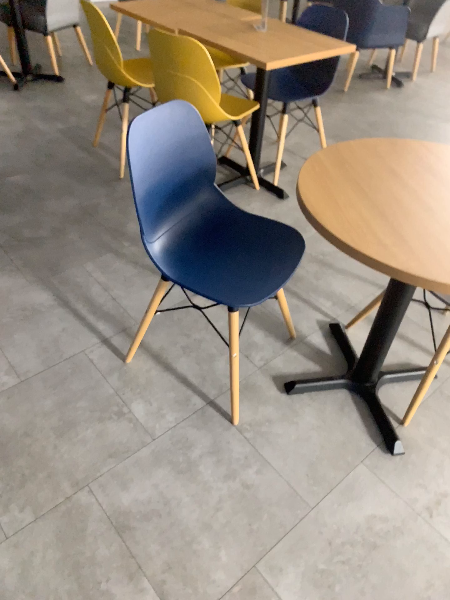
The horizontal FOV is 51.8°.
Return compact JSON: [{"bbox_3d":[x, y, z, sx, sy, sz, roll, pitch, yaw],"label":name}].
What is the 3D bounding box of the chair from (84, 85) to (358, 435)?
[{"bbox_3d":[-0.016,-0.116,1.416,0.498,0.809,0.493,25,45,21],"label":"chair"}]
